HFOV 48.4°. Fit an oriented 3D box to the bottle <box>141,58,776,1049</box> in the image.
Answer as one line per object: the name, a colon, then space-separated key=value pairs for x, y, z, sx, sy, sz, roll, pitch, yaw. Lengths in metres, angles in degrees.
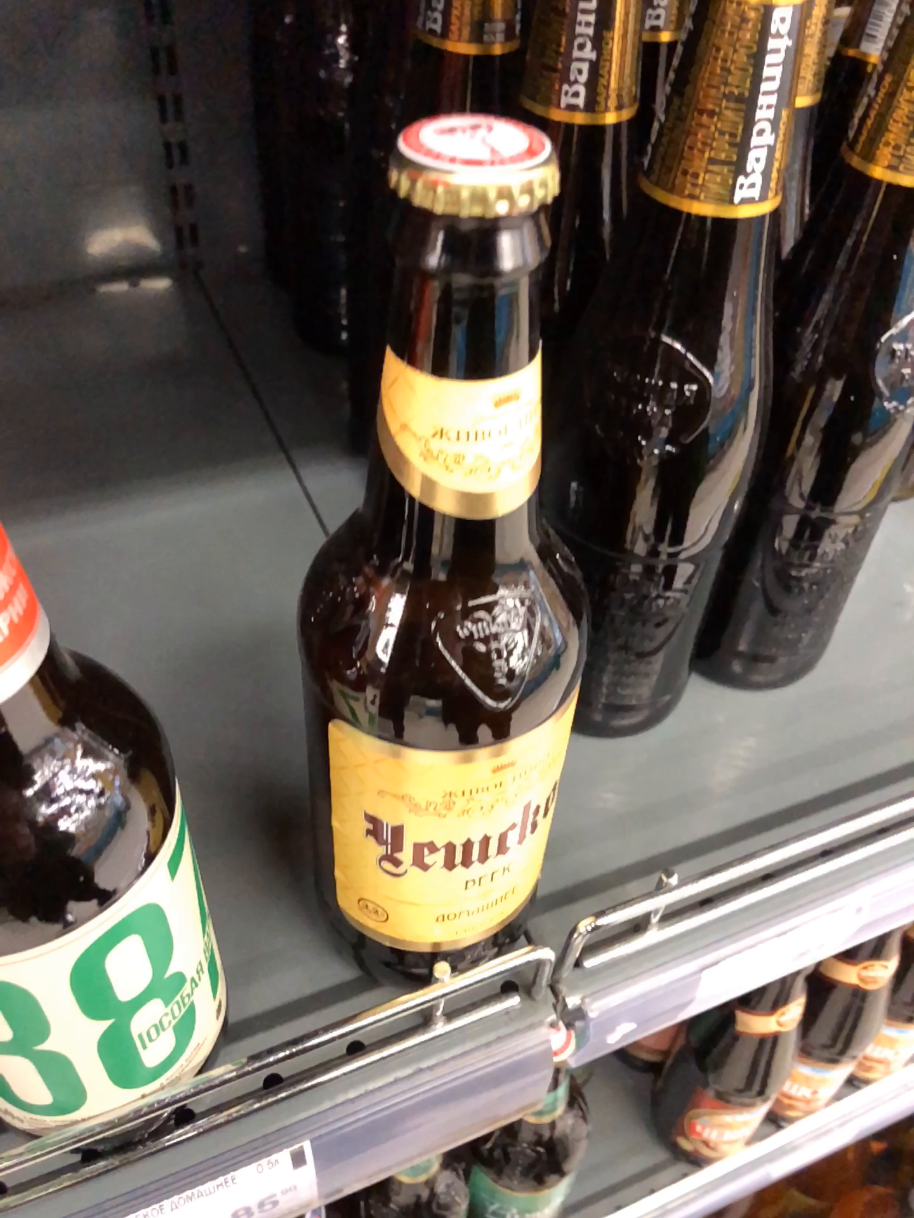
bottle: x=-0.009 y=0.008 z=0.255 sx=0.080 sy=0.239 sz=0.080 roll=2 pitch=45 yaw=-2
